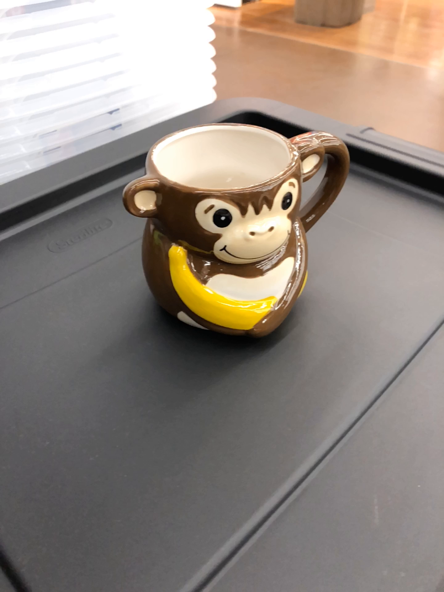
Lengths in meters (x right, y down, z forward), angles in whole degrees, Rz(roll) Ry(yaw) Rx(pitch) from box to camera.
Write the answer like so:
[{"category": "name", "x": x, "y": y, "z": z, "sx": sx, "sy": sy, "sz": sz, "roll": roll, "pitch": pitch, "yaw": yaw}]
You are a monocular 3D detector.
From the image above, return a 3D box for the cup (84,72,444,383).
[{"category": "cup", "x": 0.025, "y": -0.052, "z": 0.293, "sx": 0.160, "sy": 0.100, "sz": 0.110, "roll": -24, "pitch": 45, "yaw": -26}]
